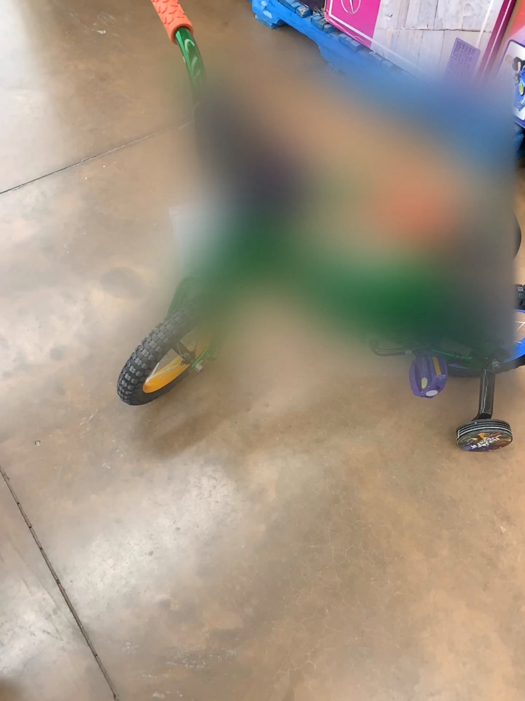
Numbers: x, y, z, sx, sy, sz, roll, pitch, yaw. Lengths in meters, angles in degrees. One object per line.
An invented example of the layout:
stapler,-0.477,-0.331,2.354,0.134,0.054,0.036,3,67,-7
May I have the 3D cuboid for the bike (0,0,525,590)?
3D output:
bike,0.187,-0.080,0.784,0.850,0.733,0.490,-7,56,-11
